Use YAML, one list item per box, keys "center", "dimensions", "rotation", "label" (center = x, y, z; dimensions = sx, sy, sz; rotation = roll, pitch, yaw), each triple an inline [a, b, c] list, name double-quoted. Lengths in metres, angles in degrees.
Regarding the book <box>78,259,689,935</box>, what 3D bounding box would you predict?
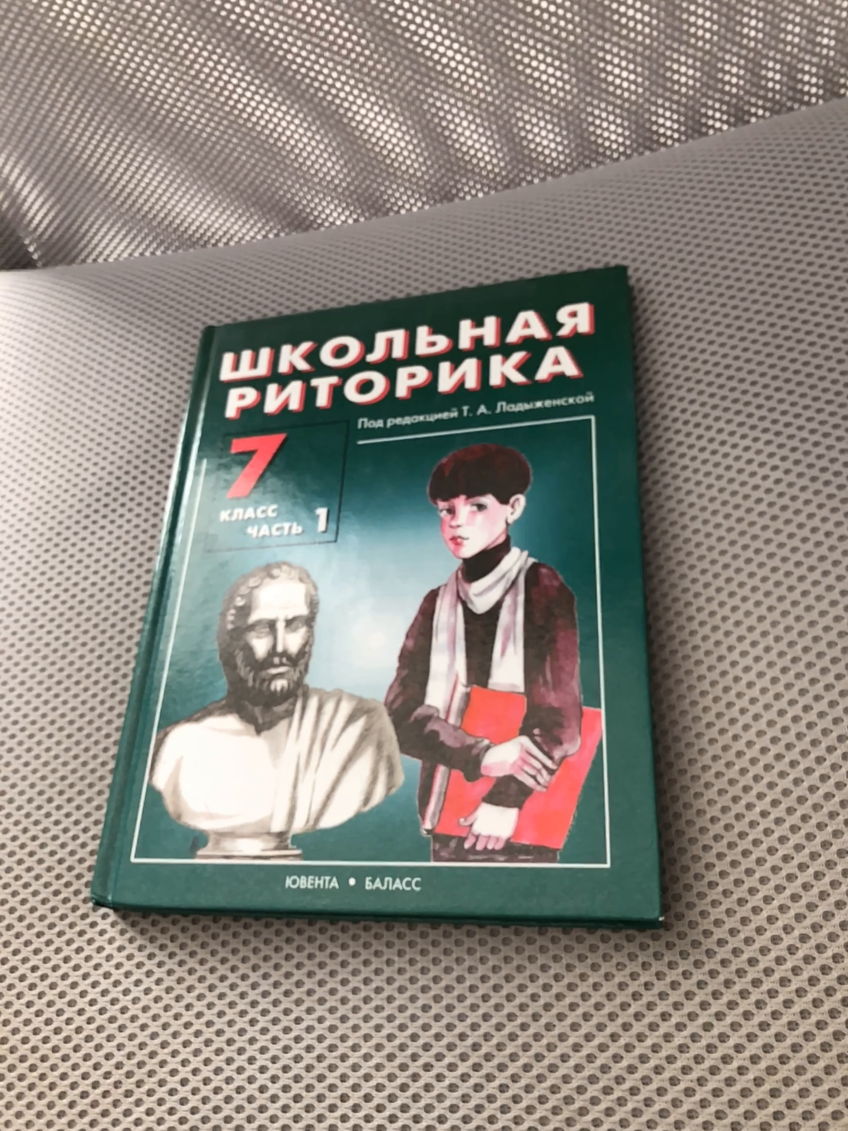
- center: [-0.009, 0.004, 0.306]
  dimensions: [0.167, 0.030, 0.211]
  rotation: [-4, 63, 14]
  label: "book"
